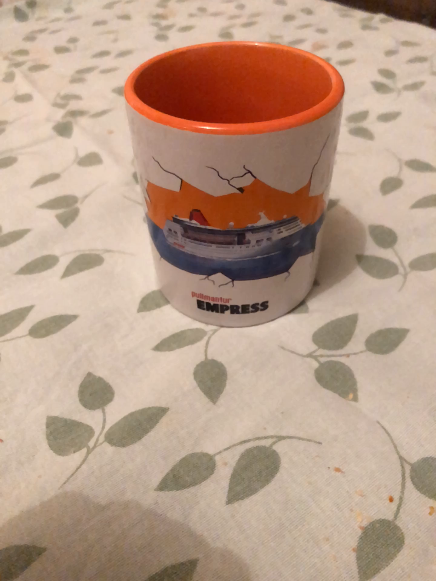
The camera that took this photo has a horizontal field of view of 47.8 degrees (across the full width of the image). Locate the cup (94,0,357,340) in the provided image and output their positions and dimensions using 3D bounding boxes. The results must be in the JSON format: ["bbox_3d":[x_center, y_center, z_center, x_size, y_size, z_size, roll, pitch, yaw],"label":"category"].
[{"bbox_3d":[0.014,-0.061,0.224,0.080,0.099,0.121,6,45,10],"label":"cup"}]
